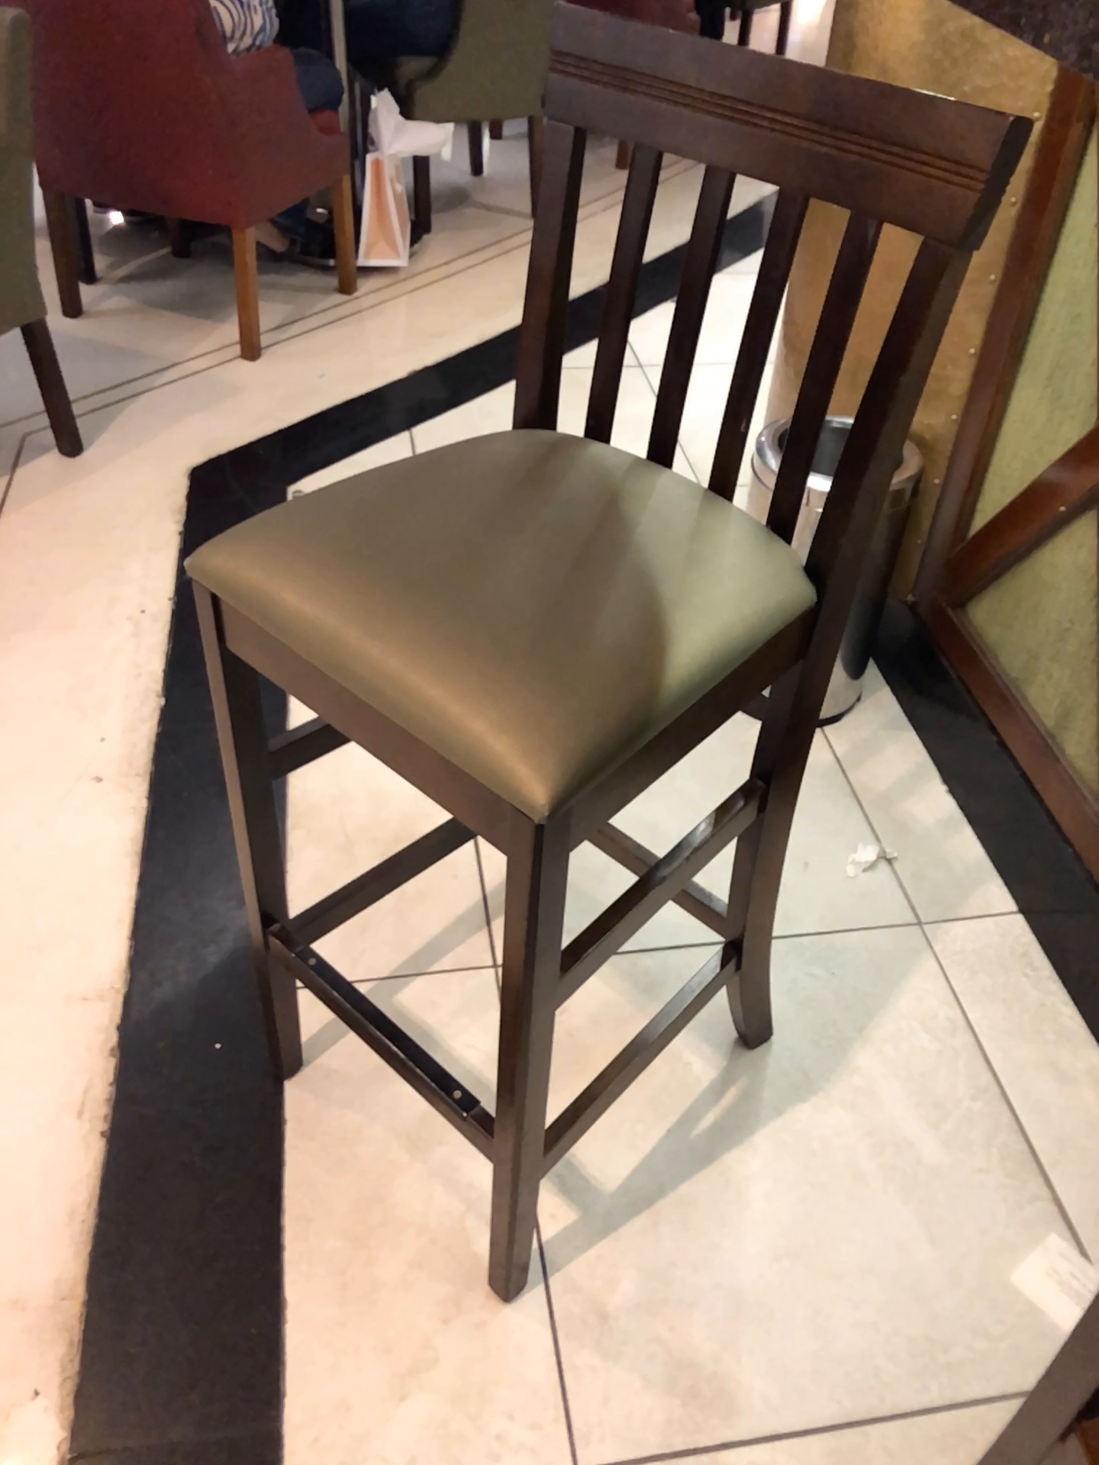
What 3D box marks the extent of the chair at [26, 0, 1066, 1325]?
[{"bbox_3d":[-0.013,-0.025,1.115,0.461,1.032,0.492,33,49,30],"label":"chair"}]
